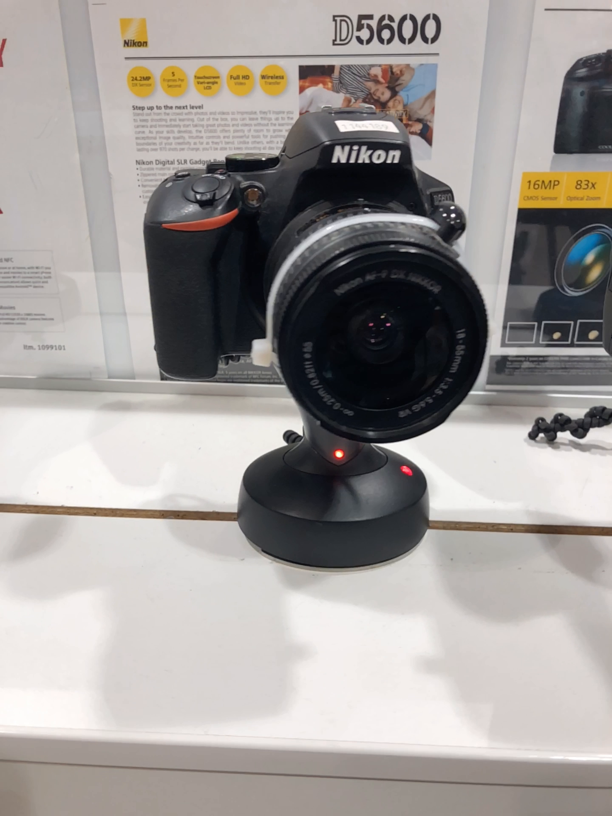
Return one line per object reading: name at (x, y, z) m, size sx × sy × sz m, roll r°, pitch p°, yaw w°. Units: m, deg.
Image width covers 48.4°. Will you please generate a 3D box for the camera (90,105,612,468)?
camera at (0.007, -0.056, 0.245) m, size 0.130 × 0.090 × 0.141 m, roll -1°, pitch 26°, yaw -6°
